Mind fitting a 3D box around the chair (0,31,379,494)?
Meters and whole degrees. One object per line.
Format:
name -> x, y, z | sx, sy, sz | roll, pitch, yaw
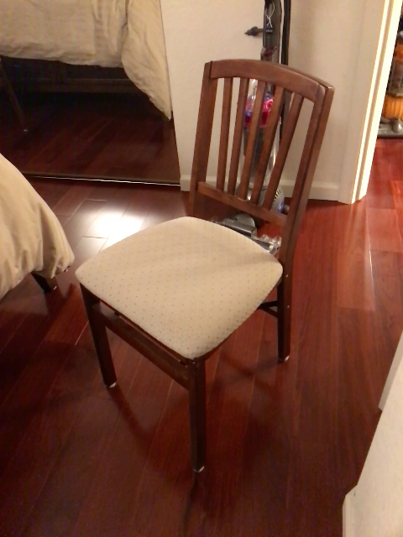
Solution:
chair -> -0.006, -0.017, 1.119 | 0.501, 0.923, 0.563 | 29, 49, 34
